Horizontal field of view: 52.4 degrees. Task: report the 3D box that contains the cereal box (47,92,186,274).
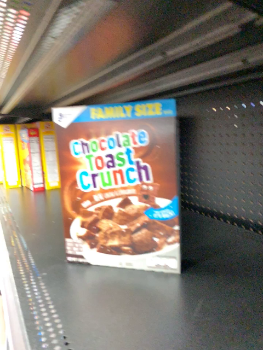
[{"bbox_3d":[-0.024,0.018,0.526,0.240,0.319,0.070,-1,9,16],"label":"cereal box"}]
